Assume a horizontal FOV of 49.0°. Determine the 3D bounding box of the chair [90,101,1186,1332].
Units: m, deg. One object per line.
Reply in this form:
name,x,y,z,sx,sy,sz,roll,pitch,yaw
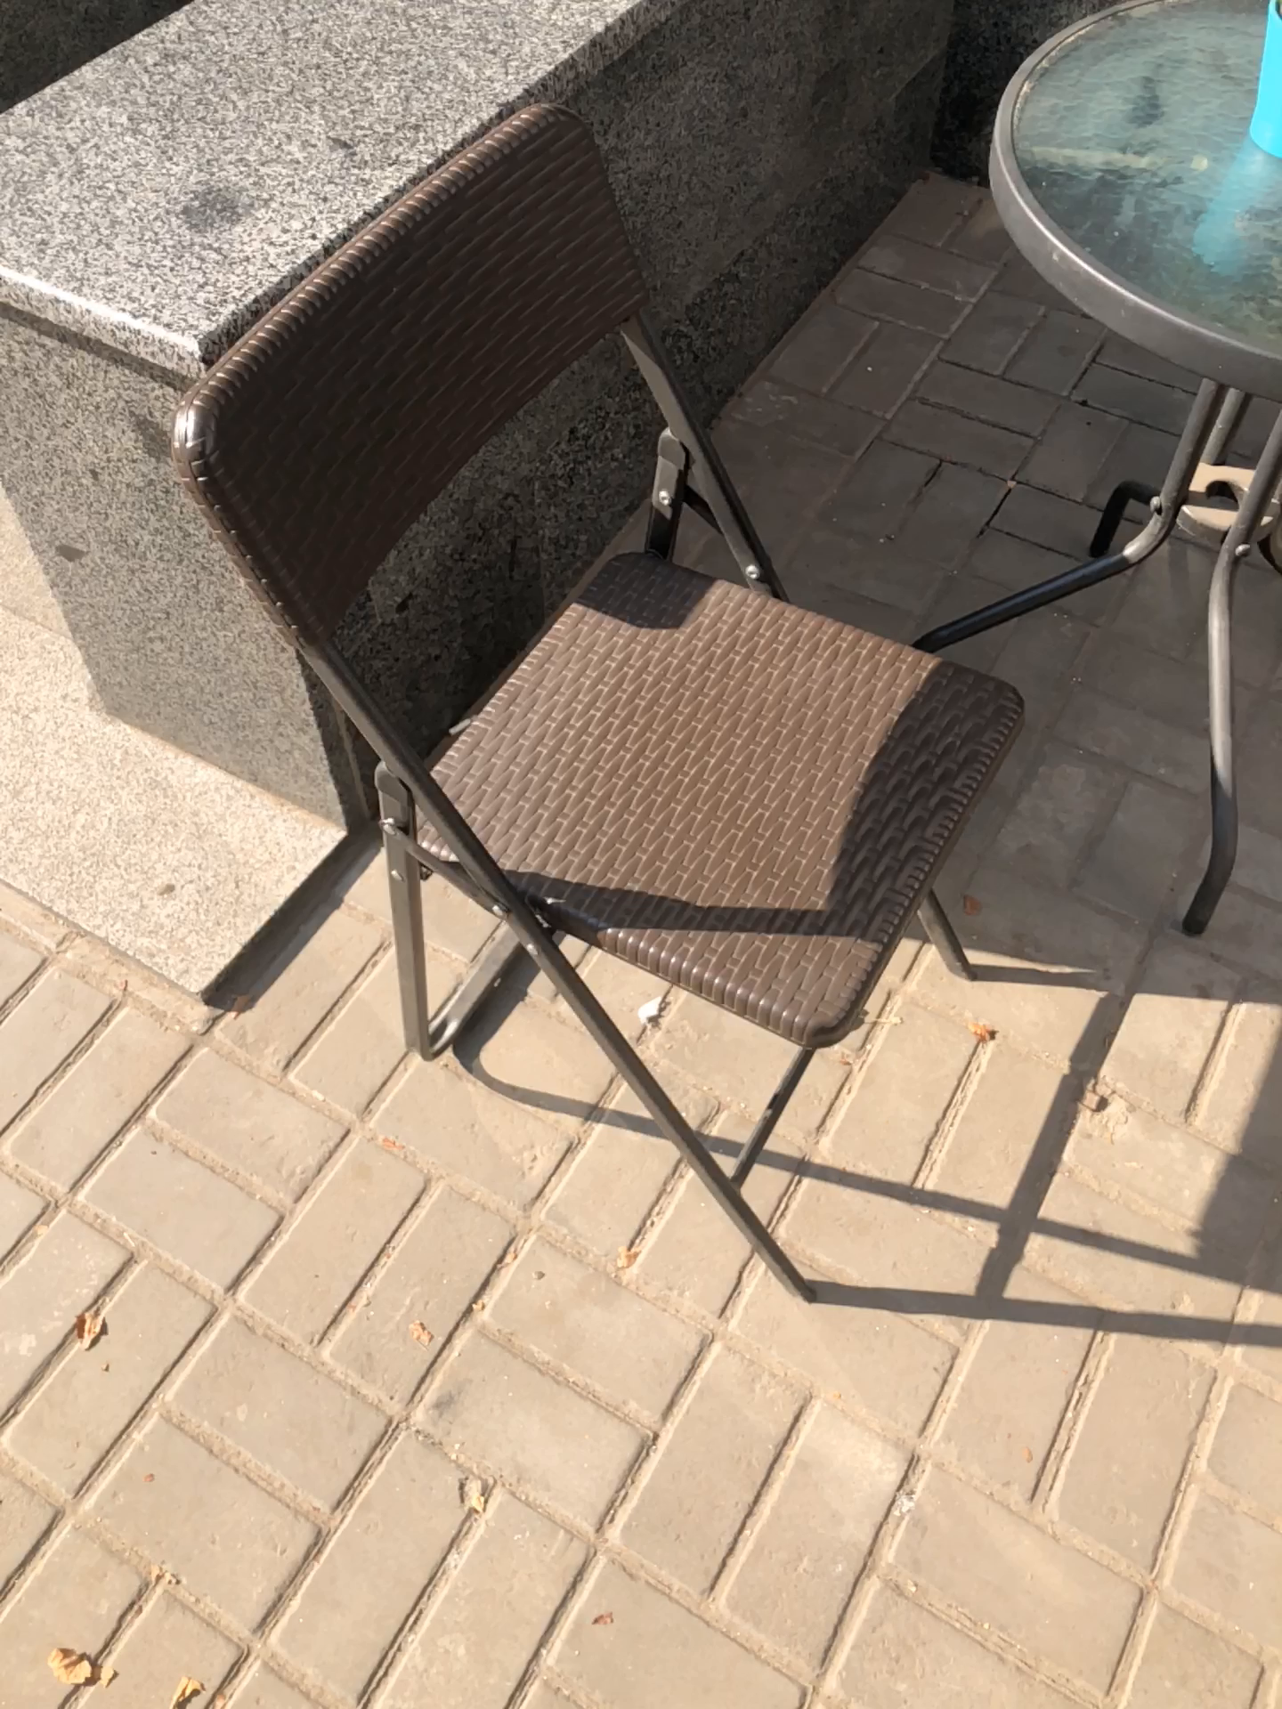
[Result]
chair,0.017,-0.055,1.120,0.480,0.777,0.431,24,57,18
